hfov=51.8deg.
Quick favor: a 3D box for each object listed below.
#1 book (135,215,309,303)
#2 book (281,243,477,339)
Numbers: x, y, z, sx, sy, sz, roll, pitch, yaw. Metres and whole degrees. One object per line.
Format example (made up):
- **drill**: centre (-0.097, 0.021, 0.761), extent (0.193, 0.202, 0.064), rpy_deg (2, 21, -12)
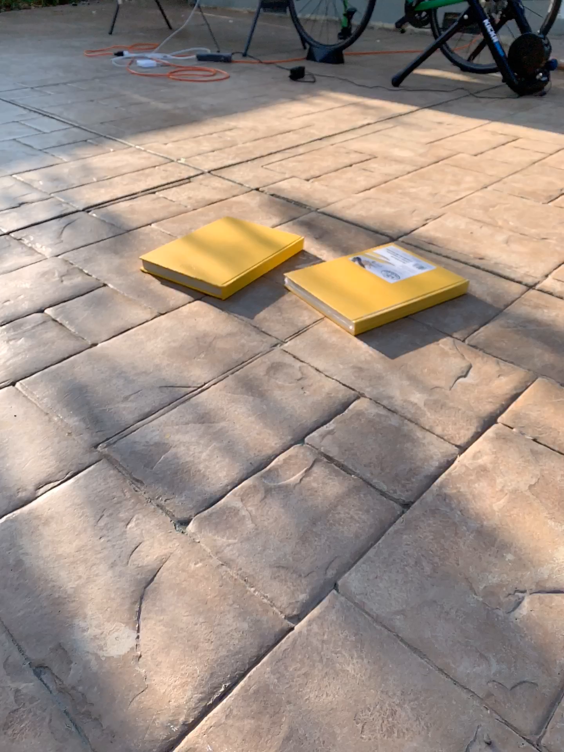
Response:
- **book**: centre (-0.120, -0.263, 1.252), extent (0.231, 0.030, 0.311), rpy_deg (21, 40, 25)
- **book**: centre (0.187, -0.178, 1.134), extent (0.300, 0.030, 0.231), rpy_deg (-20, 41, -28)
